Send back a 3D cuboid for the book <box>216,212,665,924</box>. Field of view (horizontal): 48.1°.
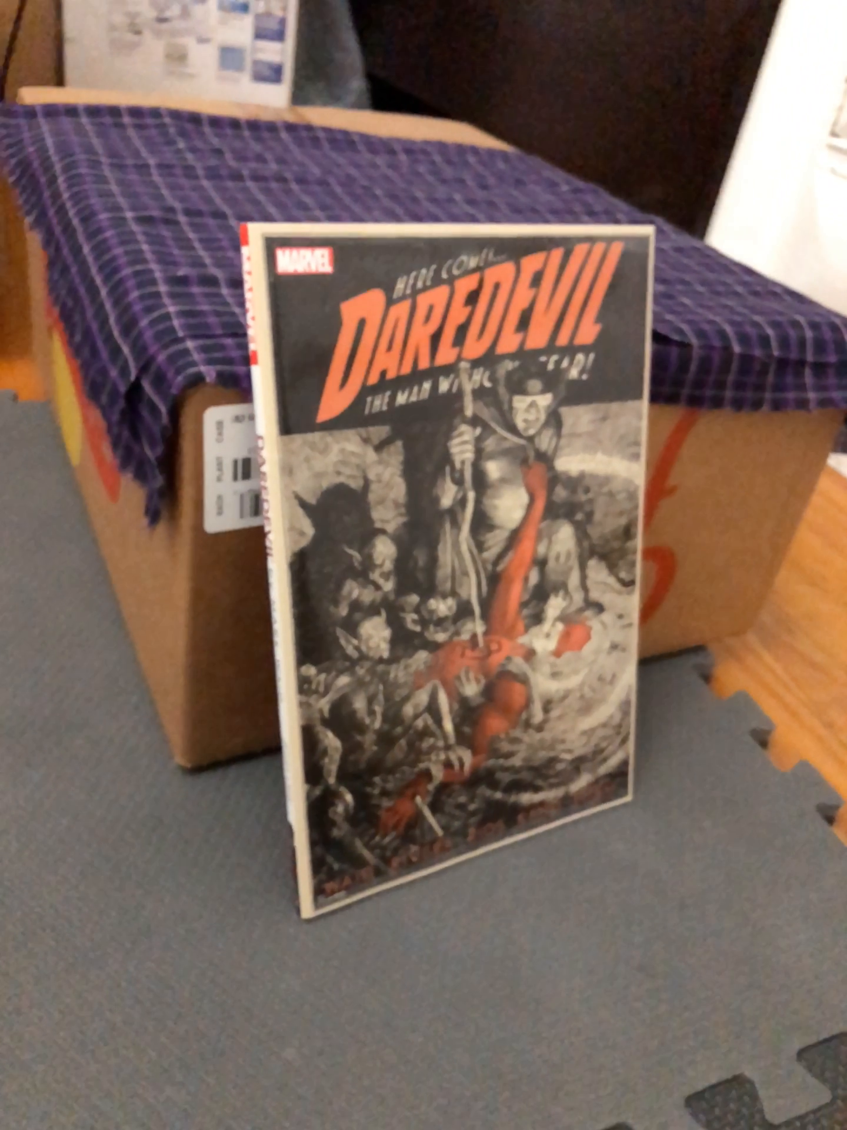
[{"bbox_3d":[0.016,-0.003,0.341,0.160,0.229,0.020,-11,18,-29],"label":"book"}]
